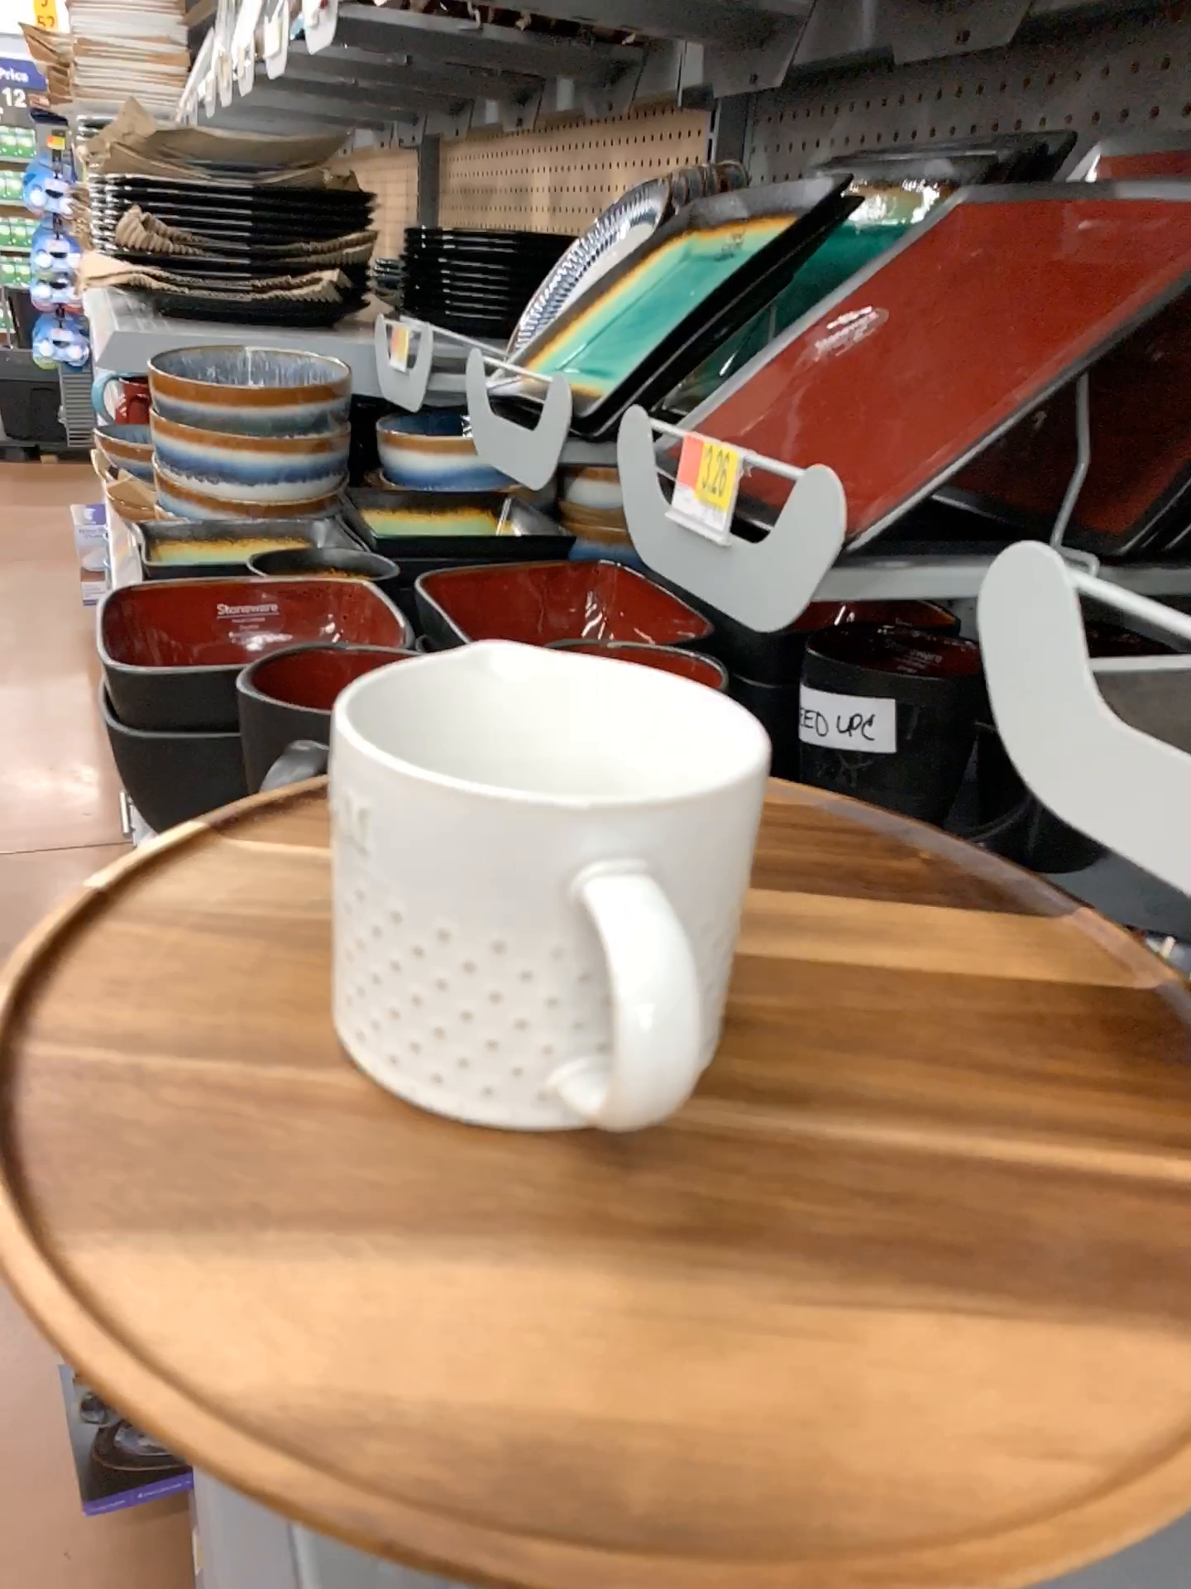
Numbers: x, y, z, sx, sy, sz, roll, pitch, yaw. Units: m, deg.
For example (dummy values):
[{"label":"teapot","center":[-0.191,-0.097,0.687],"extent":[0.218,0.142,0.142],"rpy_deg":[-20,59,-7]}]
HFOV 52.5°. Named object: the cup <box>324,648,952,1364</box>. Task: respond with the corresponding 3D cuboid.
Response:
[{"label":"cup","center":[-0.008,0.032,0.286],"extent":[0.100,0.090,0.151],"rpy_deg":[-2,25,-16]}]
